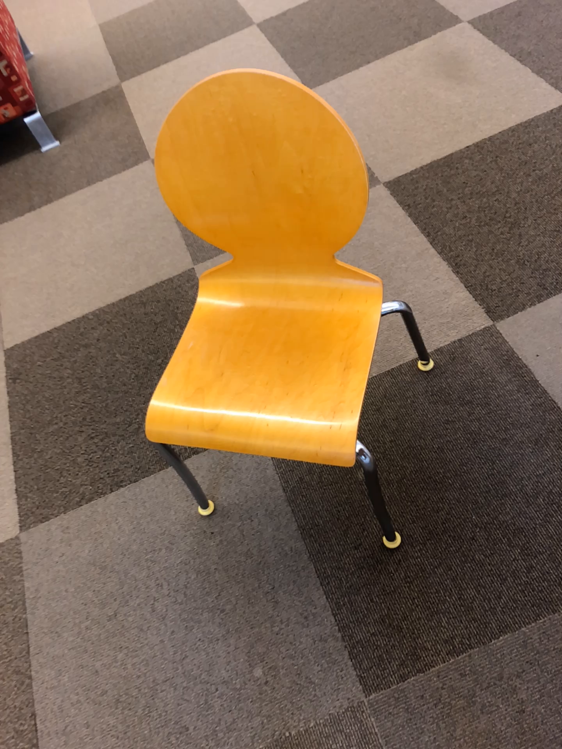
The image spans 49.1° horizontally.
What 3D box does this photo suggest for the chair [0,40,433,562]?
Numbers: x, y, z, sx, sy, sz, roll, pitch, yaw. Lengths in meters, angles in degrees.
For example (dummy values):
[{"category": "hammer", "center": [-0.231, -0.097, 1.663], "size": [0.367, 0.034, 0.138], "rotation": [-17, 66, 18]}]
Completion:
[{"category": "chair", "center": [-0.020, -0.068, 1.061], "size": [0.466, 0.723, 0.471], "rotation": [6, 57, 20]}]
